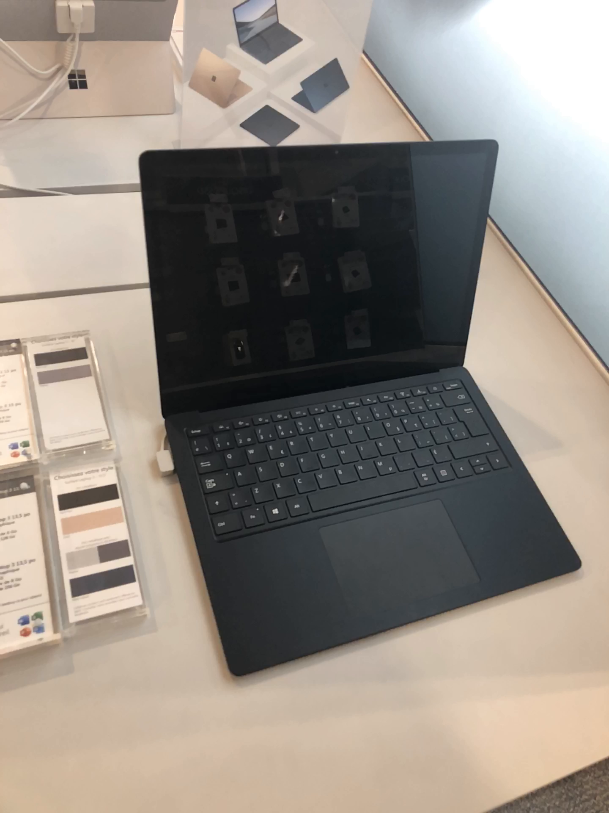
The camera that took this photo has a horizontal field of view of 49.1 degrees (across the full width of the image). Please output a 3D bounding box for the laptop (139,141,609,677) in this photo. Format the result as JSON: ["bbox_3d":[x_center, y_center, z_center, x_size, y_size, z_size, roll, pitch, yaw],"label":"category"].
[{"bbox_3d":[0.059,-0.024,0.517,0.309,0.197,0.314,-10,55,-20],"label":"laptop"}]
